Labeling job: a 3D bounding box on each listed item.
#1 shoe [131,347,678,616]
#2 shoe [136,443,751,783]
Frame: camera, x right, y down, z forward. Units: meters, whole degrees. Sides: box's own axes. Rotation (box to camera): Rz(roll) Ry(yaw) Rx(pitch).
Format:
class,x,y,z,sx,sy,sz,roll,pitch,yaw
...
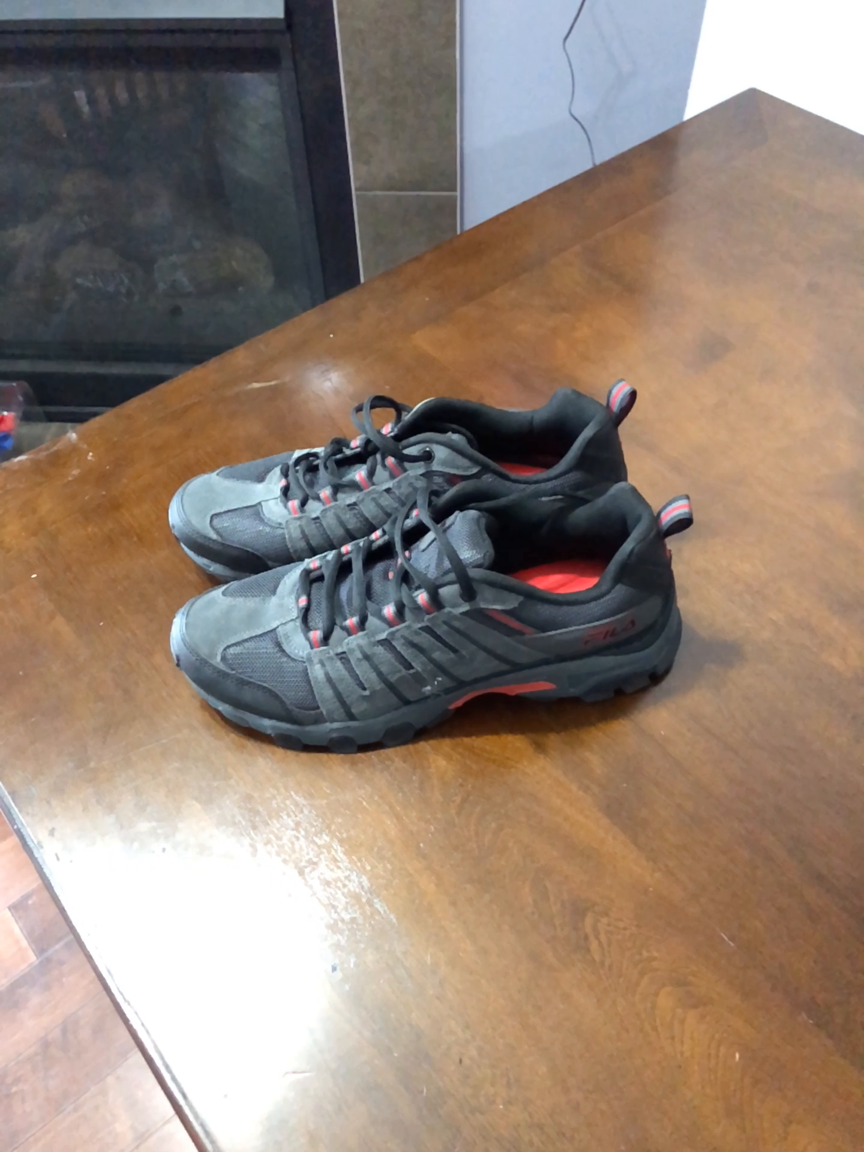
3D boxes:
class,x,y,z,sx,sy,sz,roll,pitch,yaw
shoe,-0.016,-0.059,0.598,0.300,0.100,0.120,-2,52,0
shoe,0.002,0.020,0.537,0.300,0.100,0.120,-7,52,-4
